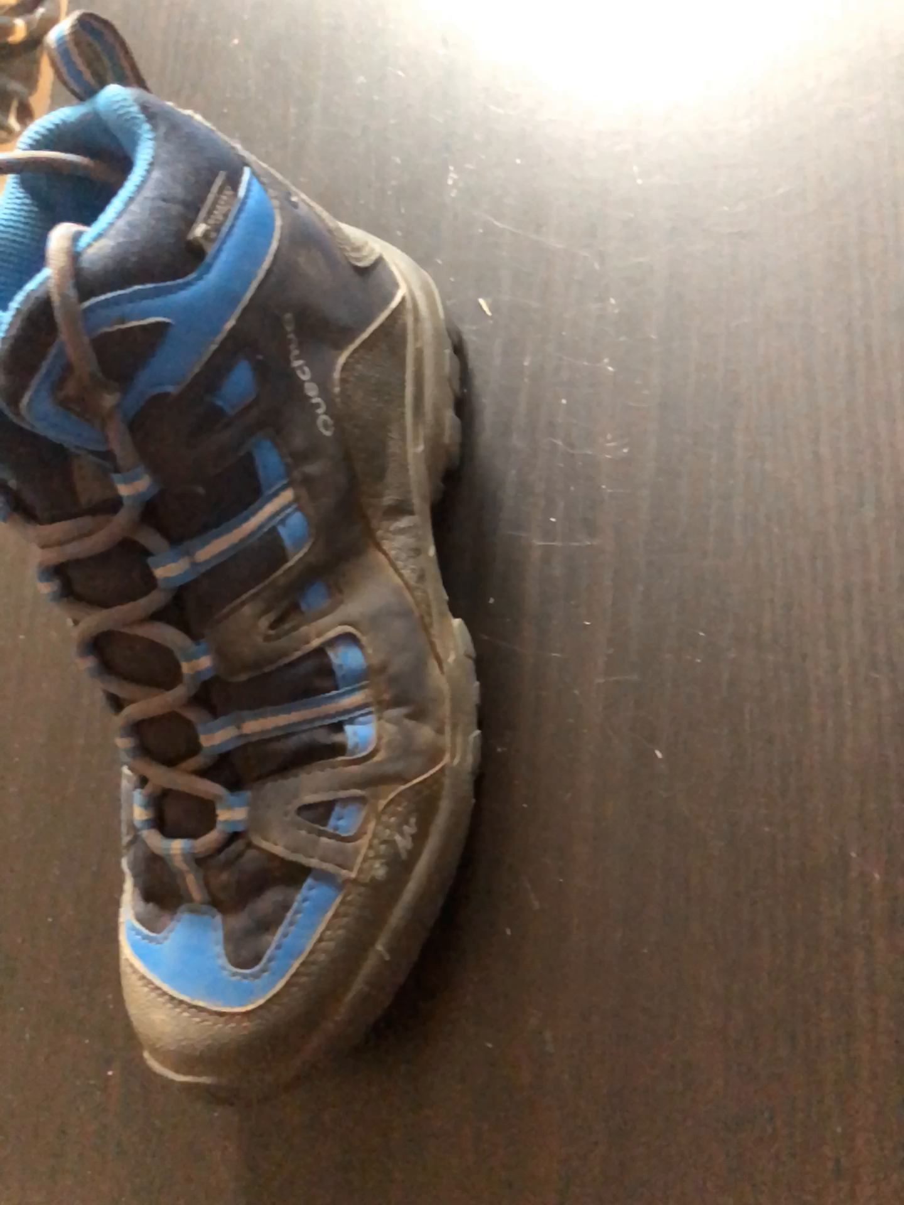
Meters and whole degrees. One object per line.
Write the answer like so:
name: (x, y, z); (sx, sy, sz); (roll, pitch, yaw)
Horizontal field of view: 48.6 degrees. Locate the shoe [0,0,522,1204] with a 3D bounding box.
shoe: (-0.063, -0.001, 0.250); (0.100, 0.120, 0.250); (-3, 76, 32)
